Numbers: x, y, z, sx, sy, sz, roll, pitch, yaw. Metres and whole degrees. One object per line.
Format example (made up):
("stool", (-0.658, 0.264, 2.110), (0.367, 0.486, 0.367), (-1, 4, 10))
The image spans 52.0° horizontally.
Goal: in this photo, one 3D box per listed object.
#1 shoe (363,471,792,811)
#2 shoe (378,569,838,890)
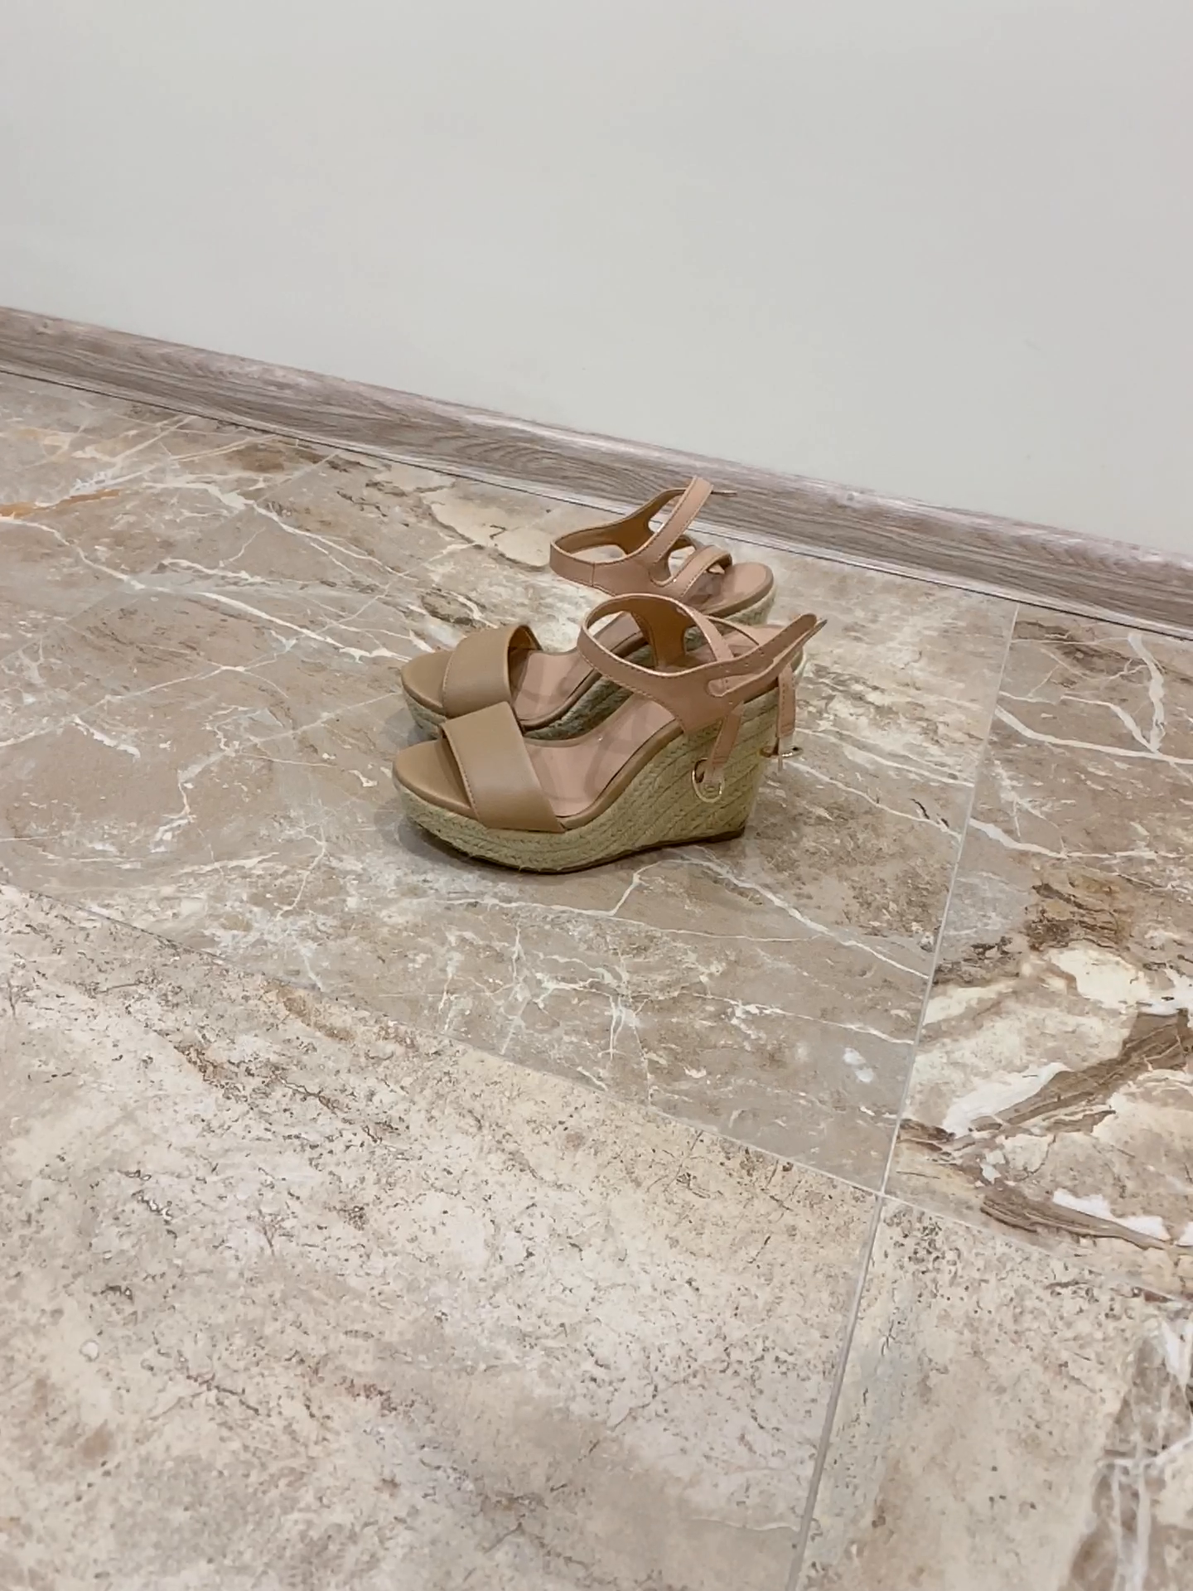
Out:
("shoe", (-0.014, -0.084, 0.678), (0.210, 0.149, 0.091), (3, 37, -2))
("shoe", (-0.002, -0.036, 0.626), (0.210, 0.129, 0.091), (-2, 37, -9))
